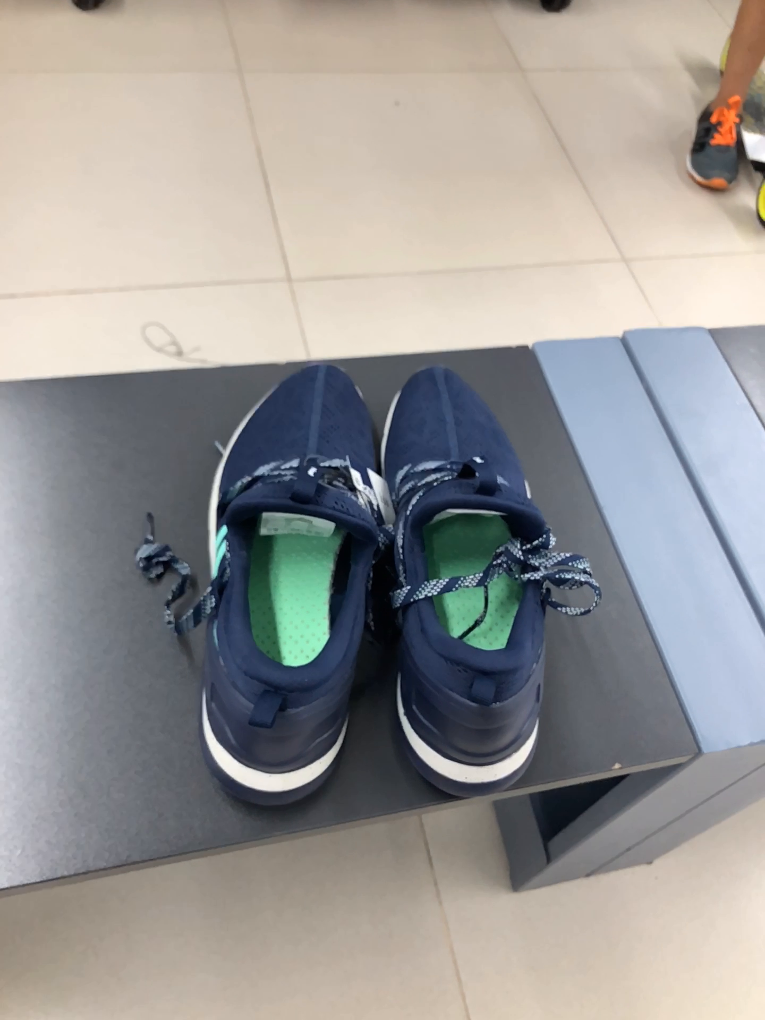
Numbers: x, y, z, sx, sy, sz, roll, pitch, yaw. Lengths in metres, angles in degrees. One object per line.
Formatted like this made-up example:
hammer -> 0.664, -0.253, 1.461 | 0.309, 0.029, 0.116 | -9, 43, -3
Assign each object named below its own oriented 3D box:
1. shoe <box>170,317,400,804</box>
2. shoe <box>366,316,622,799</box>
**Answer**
shoe -> -0.052, 0.025, 0.492 | 0.100, 0.119, 0.251 | 3, 56, -7
shoe -> 0.048, 0.024, 0.497 | 0.100, 0.119, 0.251 | 3, 56, -7
